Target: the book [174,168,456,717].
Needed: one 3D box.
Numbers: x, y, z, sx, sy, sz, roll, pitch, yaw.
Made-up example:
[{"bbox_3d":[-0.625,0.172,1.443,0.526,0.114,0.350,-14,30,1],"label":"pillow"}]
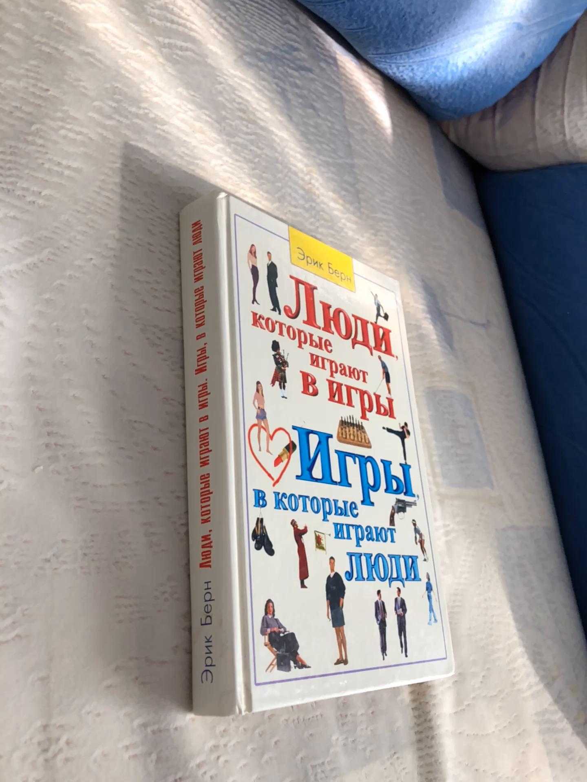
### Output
[{"bbox_3d":[0.010,0.021,0.297,0.135,0.030,0.210,17,61,-44],"label":"book"}]
